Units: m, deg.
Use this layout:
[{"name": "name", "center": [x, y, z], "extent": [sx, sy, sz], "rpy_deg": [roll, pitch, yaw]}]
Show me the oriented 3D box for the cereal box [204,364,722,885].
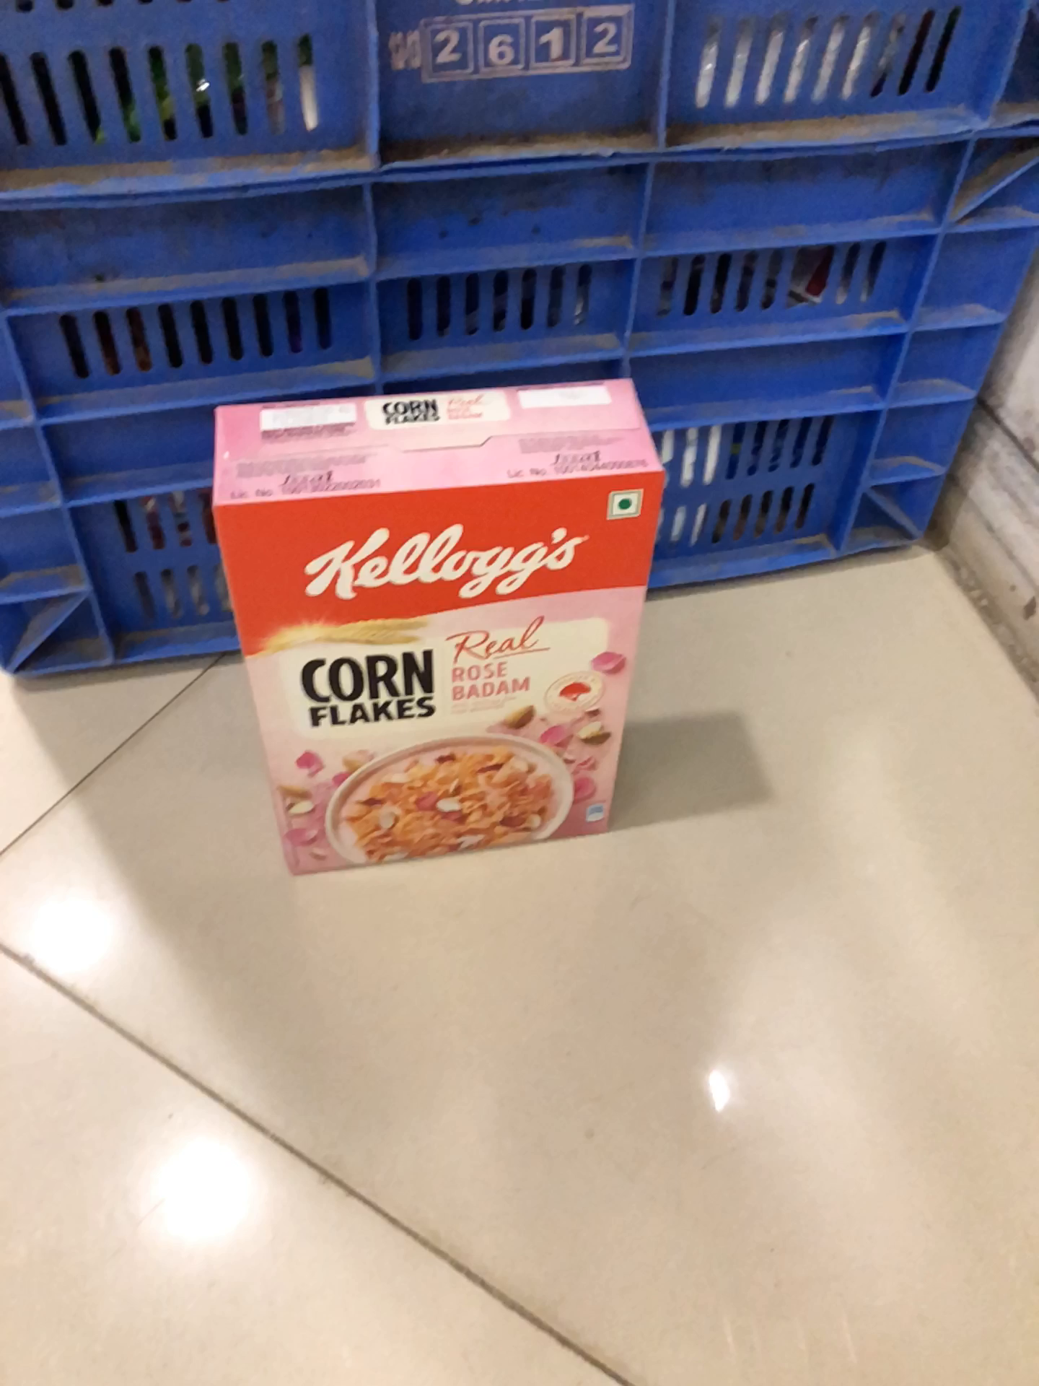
[{"name": "cereal box", "center": [-0.029, -0.020, 0.558], "extent": [0.200, 0.259, 0.070], "rpy_deg": [-7, 49, -9]}]
